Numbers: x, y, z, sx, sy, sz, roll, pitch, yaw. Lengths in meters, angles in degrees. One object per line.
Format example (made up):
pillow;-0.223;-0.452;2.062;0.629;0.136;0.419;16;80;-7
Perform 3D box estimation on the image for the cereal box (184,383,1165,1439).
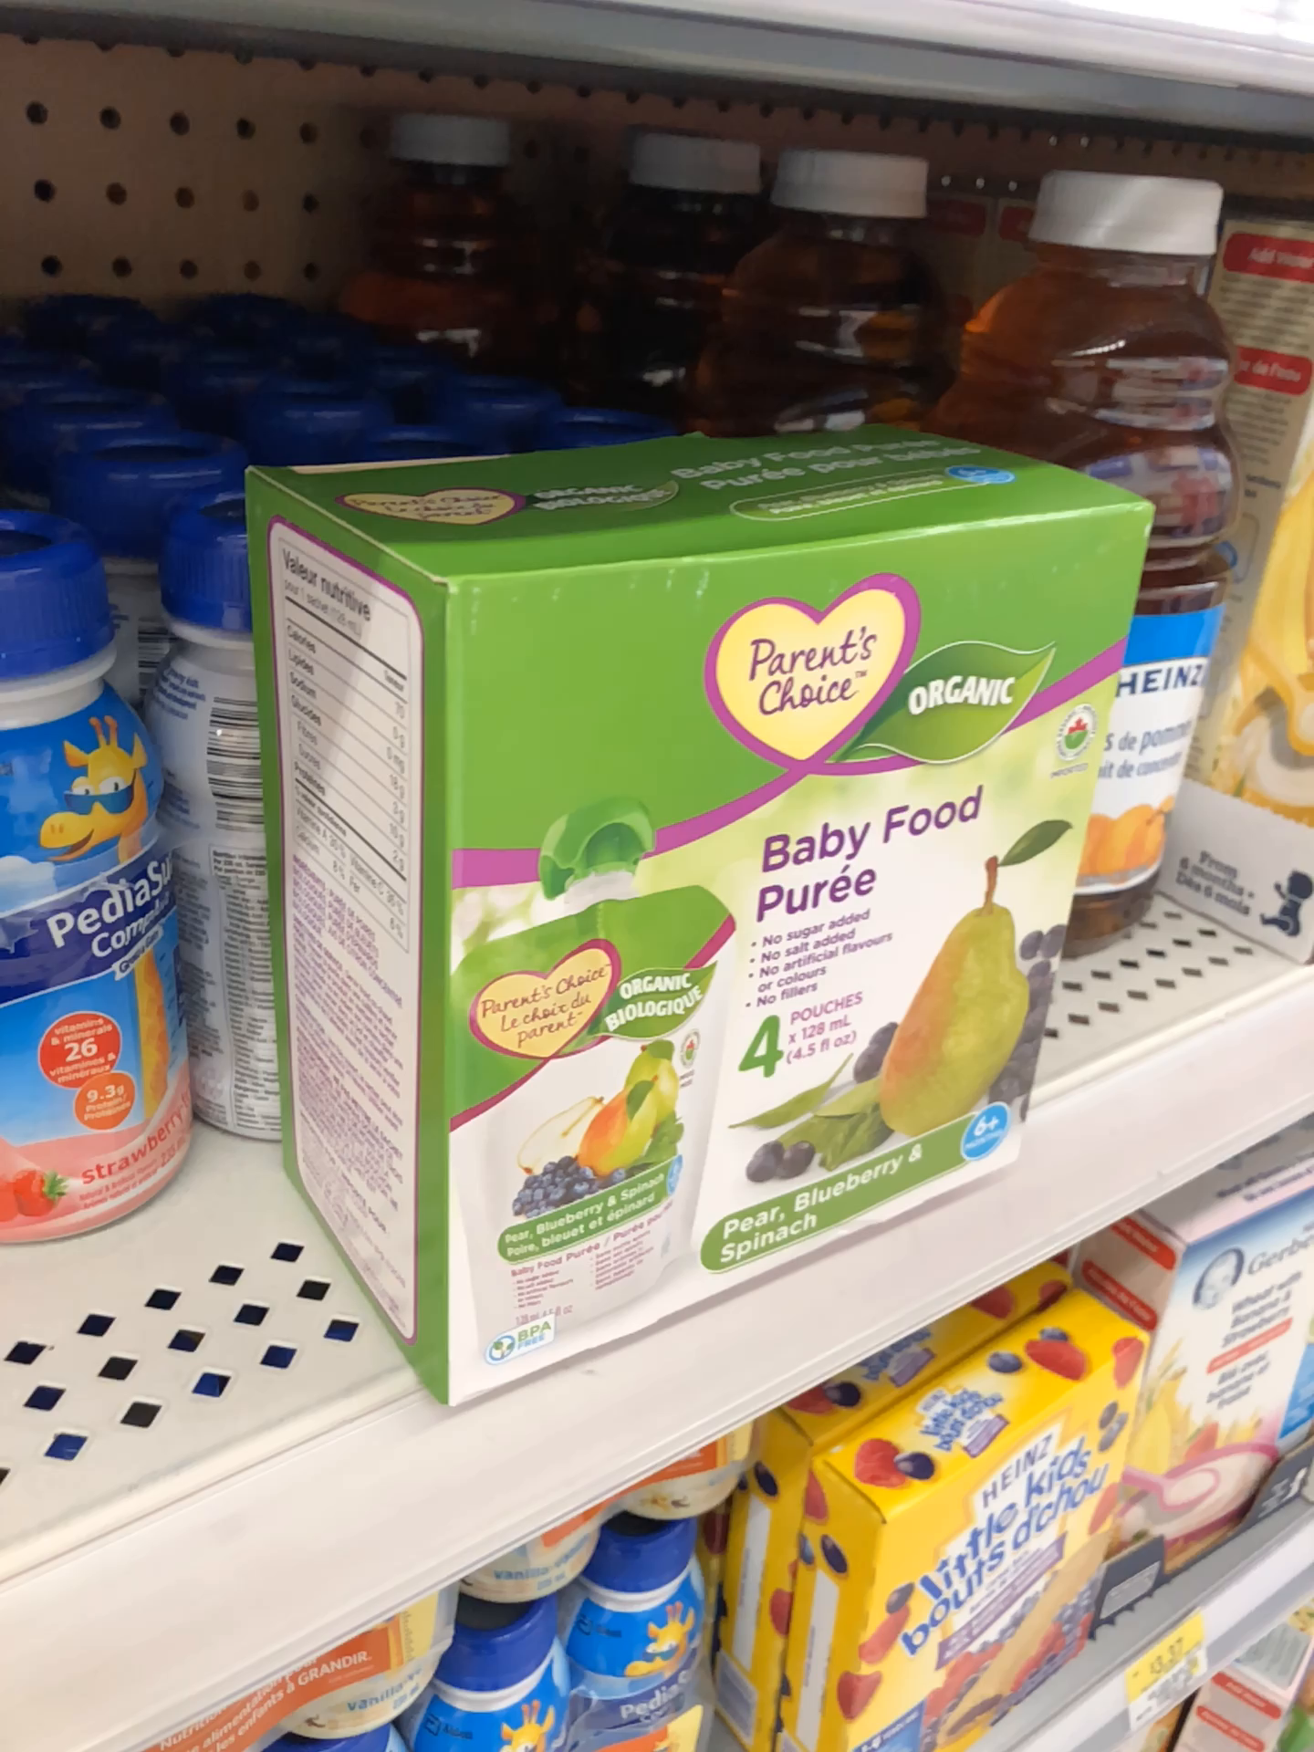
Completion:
cereal box;0.000;-0.007;0.293;0.150;0.159;0.090;-14;32;-34
